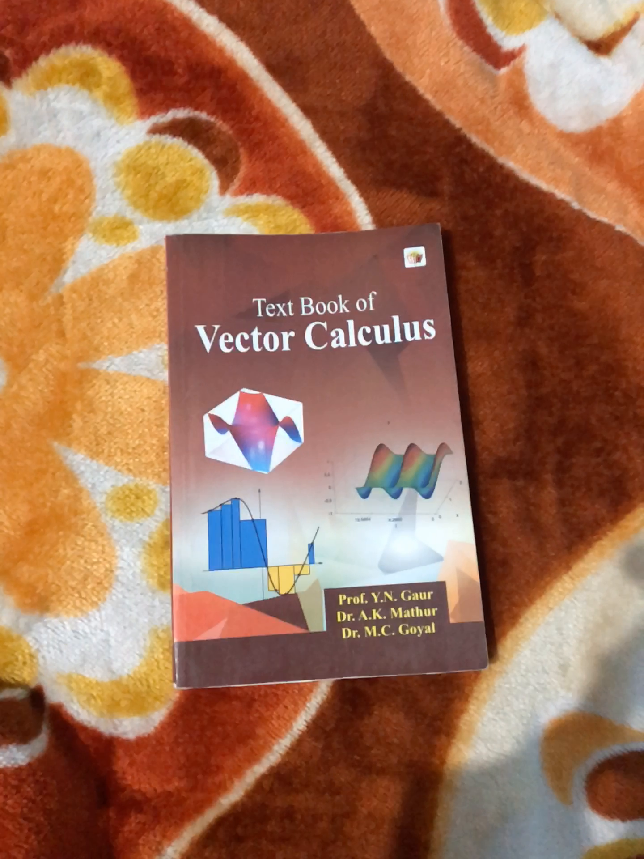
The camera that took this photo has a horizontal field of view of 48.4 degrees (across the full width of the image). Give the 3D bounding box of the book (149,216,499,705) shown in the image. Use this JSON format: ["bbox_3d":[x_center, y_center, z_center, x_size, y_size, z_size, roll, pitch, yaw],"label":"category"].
[{"bbox_3d":[-0.004,0.007,0.326,0.140,0.020,0.210,-4,77,-2],"label":"book"}]
